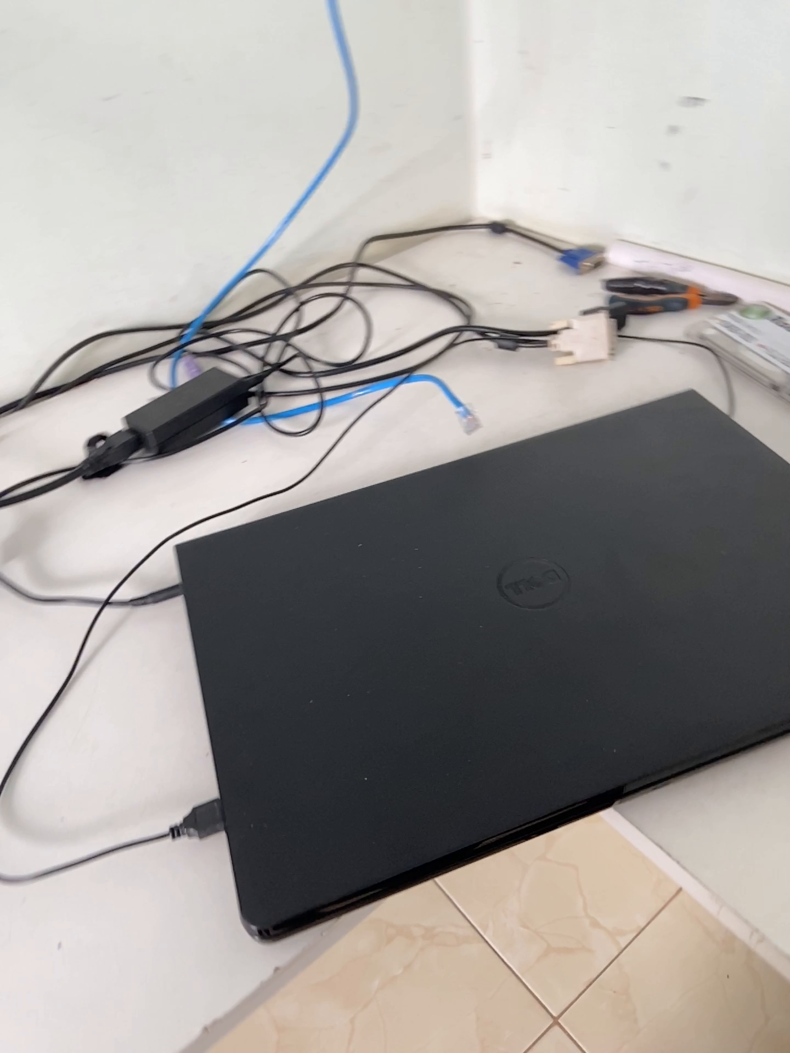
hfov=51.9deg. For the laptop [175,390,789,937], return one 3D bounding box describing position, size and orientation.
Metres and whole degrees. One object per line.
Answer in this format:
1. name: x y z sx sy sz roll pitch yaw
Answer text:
1. laptop: 0.076 0.032 0.458 0.376 0.003 0.261 -17 40 -11
